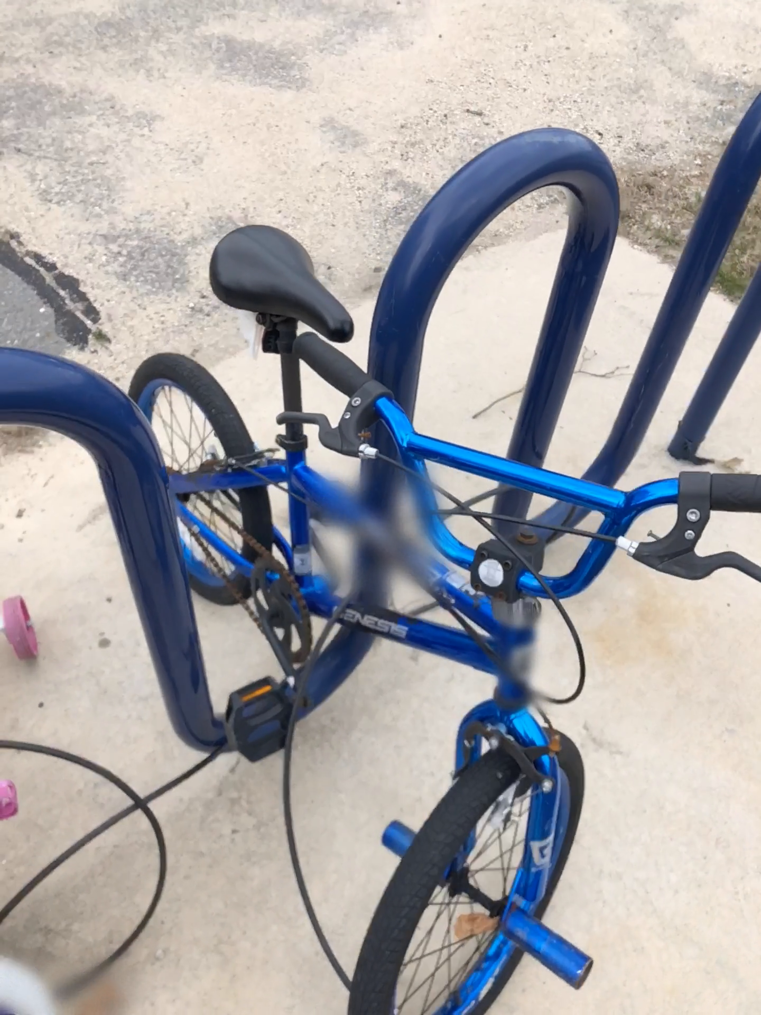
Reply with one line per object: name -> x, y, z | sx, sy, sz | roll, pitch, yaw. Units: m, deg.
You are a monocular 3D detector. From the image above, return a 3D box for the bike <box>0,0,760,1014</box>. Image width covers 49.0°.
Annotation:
bike -> -0.116, -0.001, 1.111 | 0.622, 0.840, 1.034 | -18, 51, -19
